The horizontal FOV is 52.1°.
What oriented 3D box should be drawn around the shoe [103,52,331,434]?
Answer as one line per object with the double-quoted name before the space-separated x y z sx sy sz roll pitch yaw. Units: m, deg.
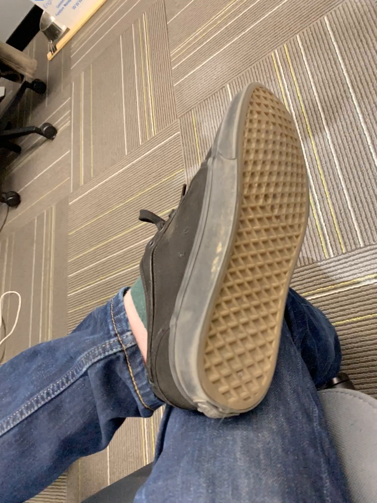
"shoe" 0.027 0.001 0.338 0.135 0.119 0.260 -13 67 48
